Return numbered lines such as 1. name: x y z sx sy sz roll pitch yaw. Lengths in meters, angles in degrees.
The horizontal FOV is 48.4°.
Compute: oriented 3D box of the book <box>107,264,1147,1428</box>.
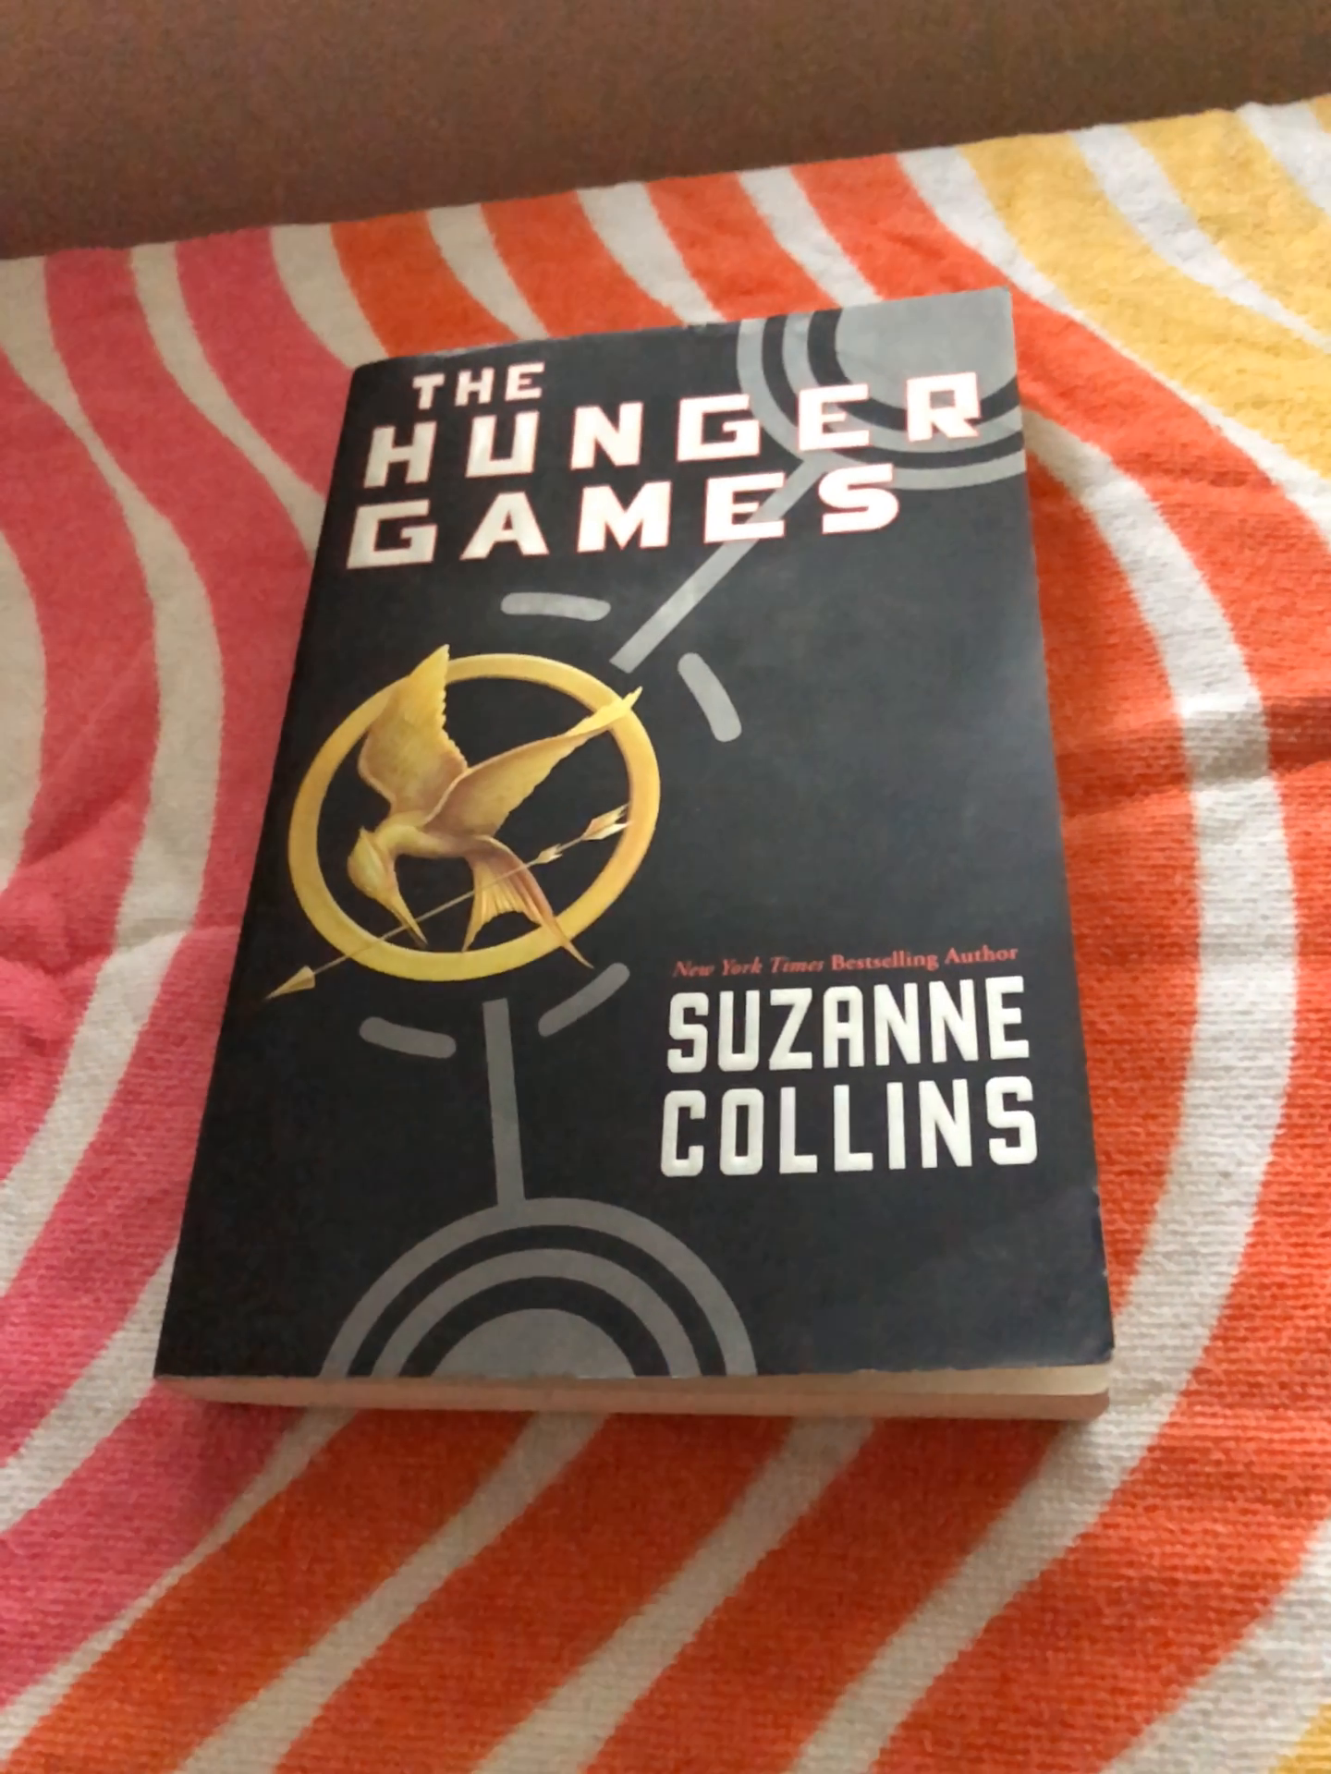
1. book: -0.001 -0.017 0.256 0.138 0.037 0.201 -2 61 10
